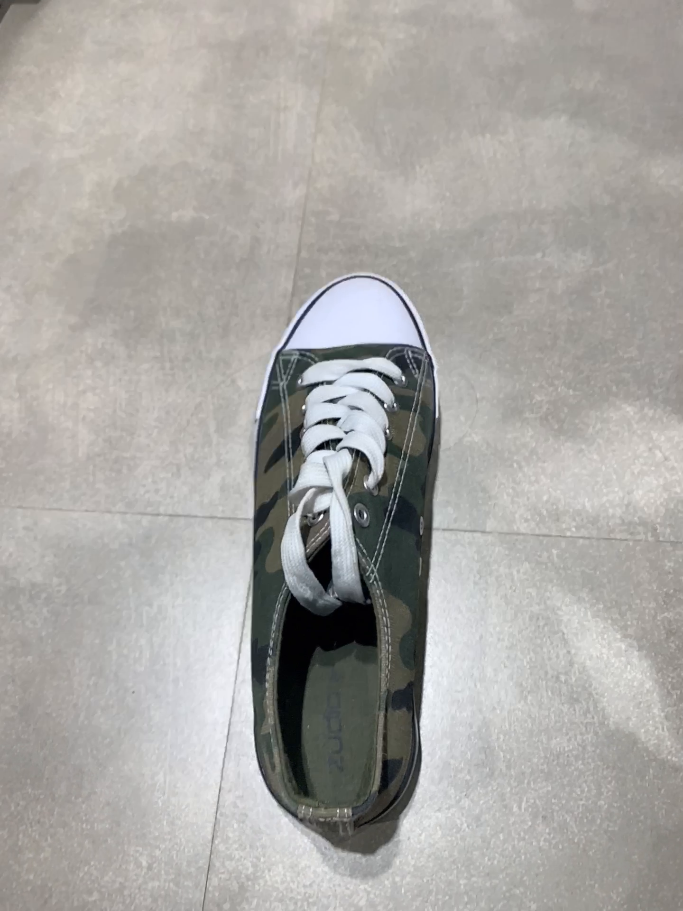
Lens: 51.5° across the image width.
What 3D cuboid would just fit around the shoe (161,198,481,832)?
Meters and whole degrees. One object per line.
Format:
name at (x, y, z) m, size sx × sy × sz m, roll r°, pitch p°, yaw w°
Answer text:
shoe at (0.000, 0.014, 0.314) m, size 0.099 × 0.079 × 0.266 m, roll 0°, pitch 63°, yaw 4°
